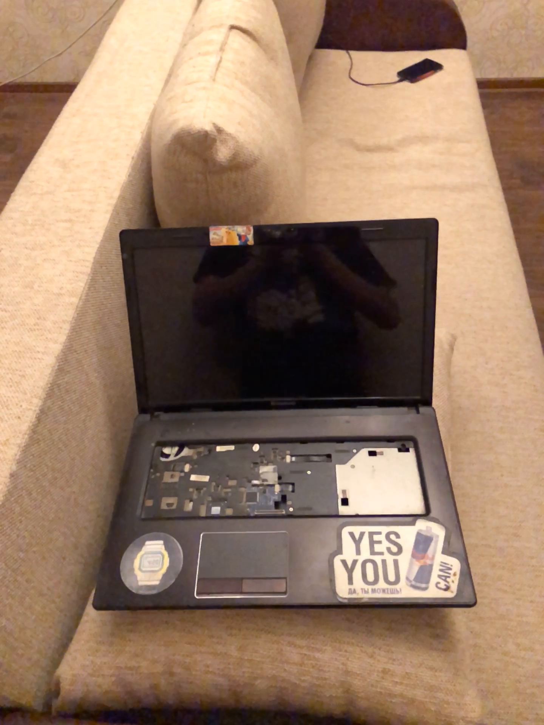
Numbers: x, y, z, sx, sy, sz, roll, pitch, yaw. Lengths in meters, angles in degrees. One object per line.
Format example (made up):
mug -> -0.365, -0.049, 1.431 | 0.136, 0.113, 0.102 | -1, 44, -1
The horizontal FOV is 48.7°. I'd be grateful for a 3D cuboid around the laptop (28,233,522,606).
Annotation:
laptop -> 0.007, 0.052, 0.717 | 0.412, 0.198, 0.410 | -1, 48, 3
